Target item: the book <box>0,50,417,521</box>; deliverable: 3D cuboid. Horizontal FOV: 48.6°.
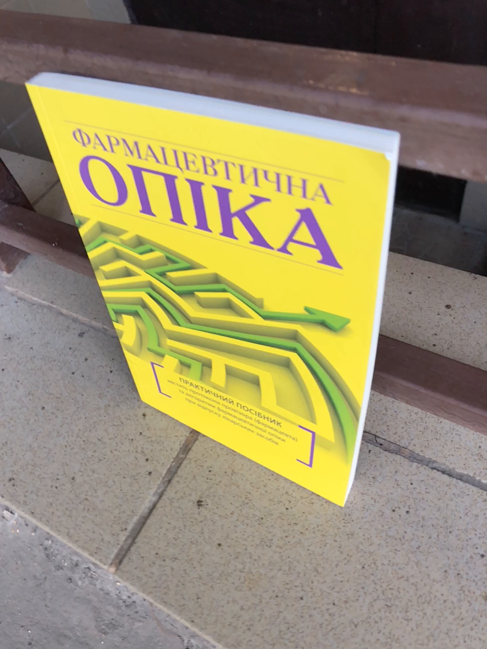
[{"bbox_3d":[-0.018,-0.003,0.285,0.180,0.239,0.030,22,54,25],"label":"book"}]
